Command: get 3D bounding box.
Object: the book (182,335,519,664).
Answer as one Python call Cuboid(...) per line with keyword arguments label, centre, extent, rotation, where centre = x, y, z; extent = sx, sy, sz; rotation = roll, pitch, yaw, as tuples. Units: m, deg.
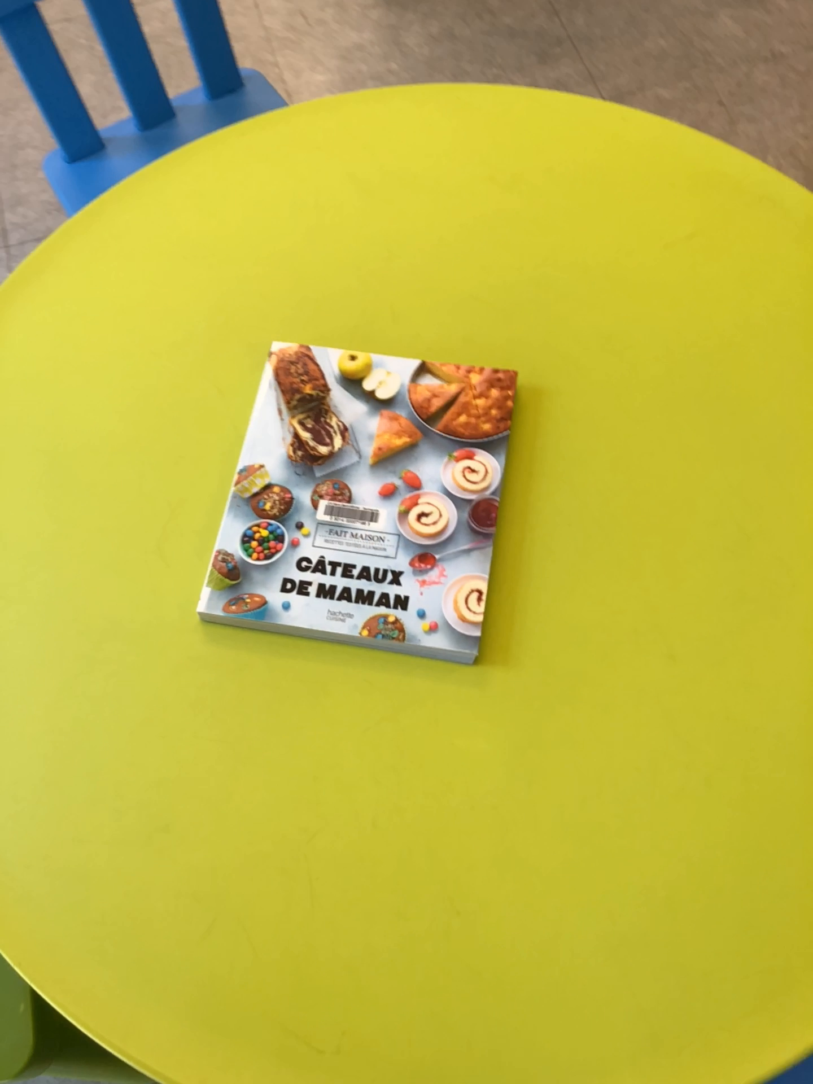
Cuboid(label="book", centre=(-0.032, -0.039, 0.640), extent=(0.200, 0.021, 0.229), rotation=(8, 66, 5))
